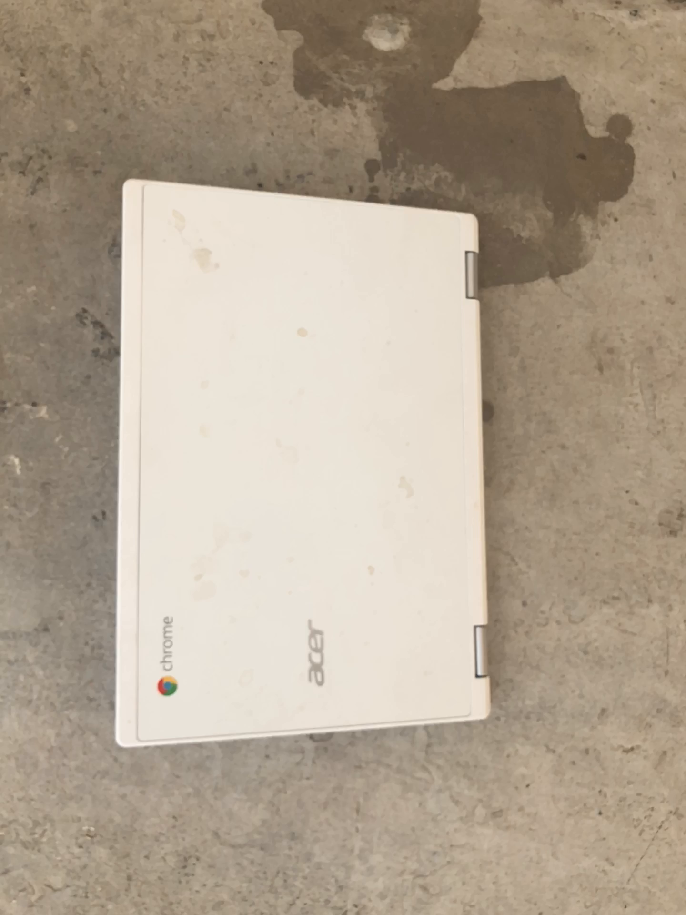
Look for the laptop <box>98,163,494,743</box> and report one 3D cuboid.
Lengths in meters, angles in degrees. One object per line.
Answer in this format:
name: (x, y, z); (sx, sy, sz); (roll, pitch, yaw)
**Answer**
laptop: (-0.022, -0.005, 0.401); (0.190, 0.046, 0.278); (0, 85, -7)
